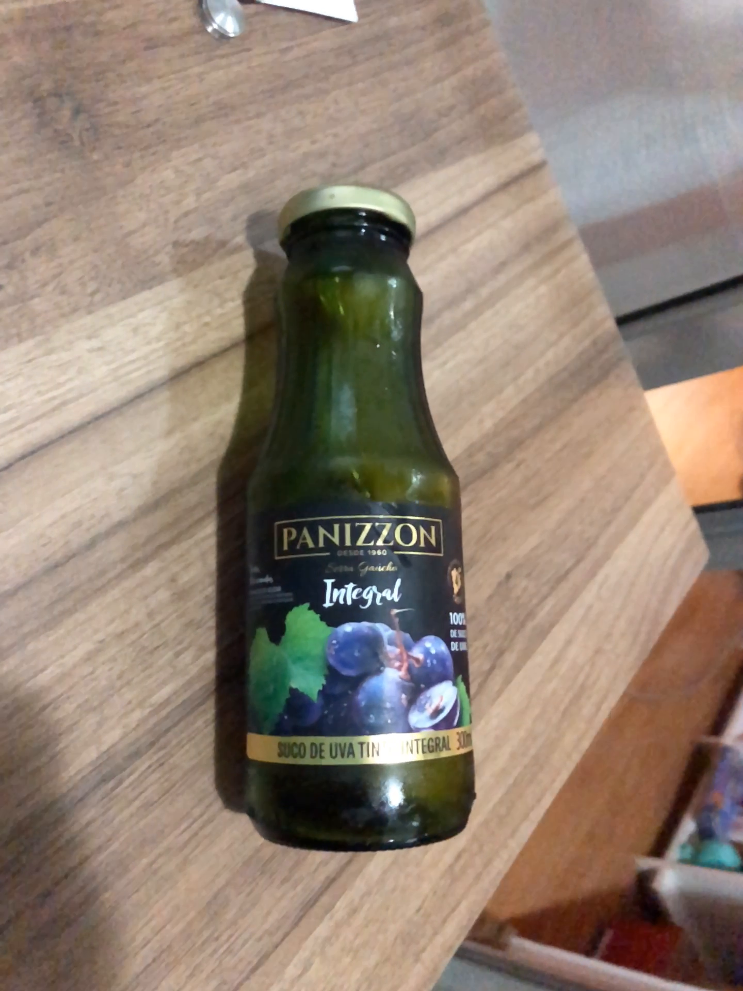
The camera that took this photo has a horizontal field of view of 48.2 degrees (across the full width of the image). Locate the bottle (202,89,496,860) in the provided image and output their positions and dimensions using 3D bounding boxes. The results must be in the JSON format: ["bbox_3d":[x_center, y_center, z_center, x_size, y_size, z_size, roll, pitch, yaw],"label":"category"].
[{"bbox_3d":[-0.009,-0.007,0.249,0.070,0.070,0.200,0,80,-4],"label":"bottle"}]
